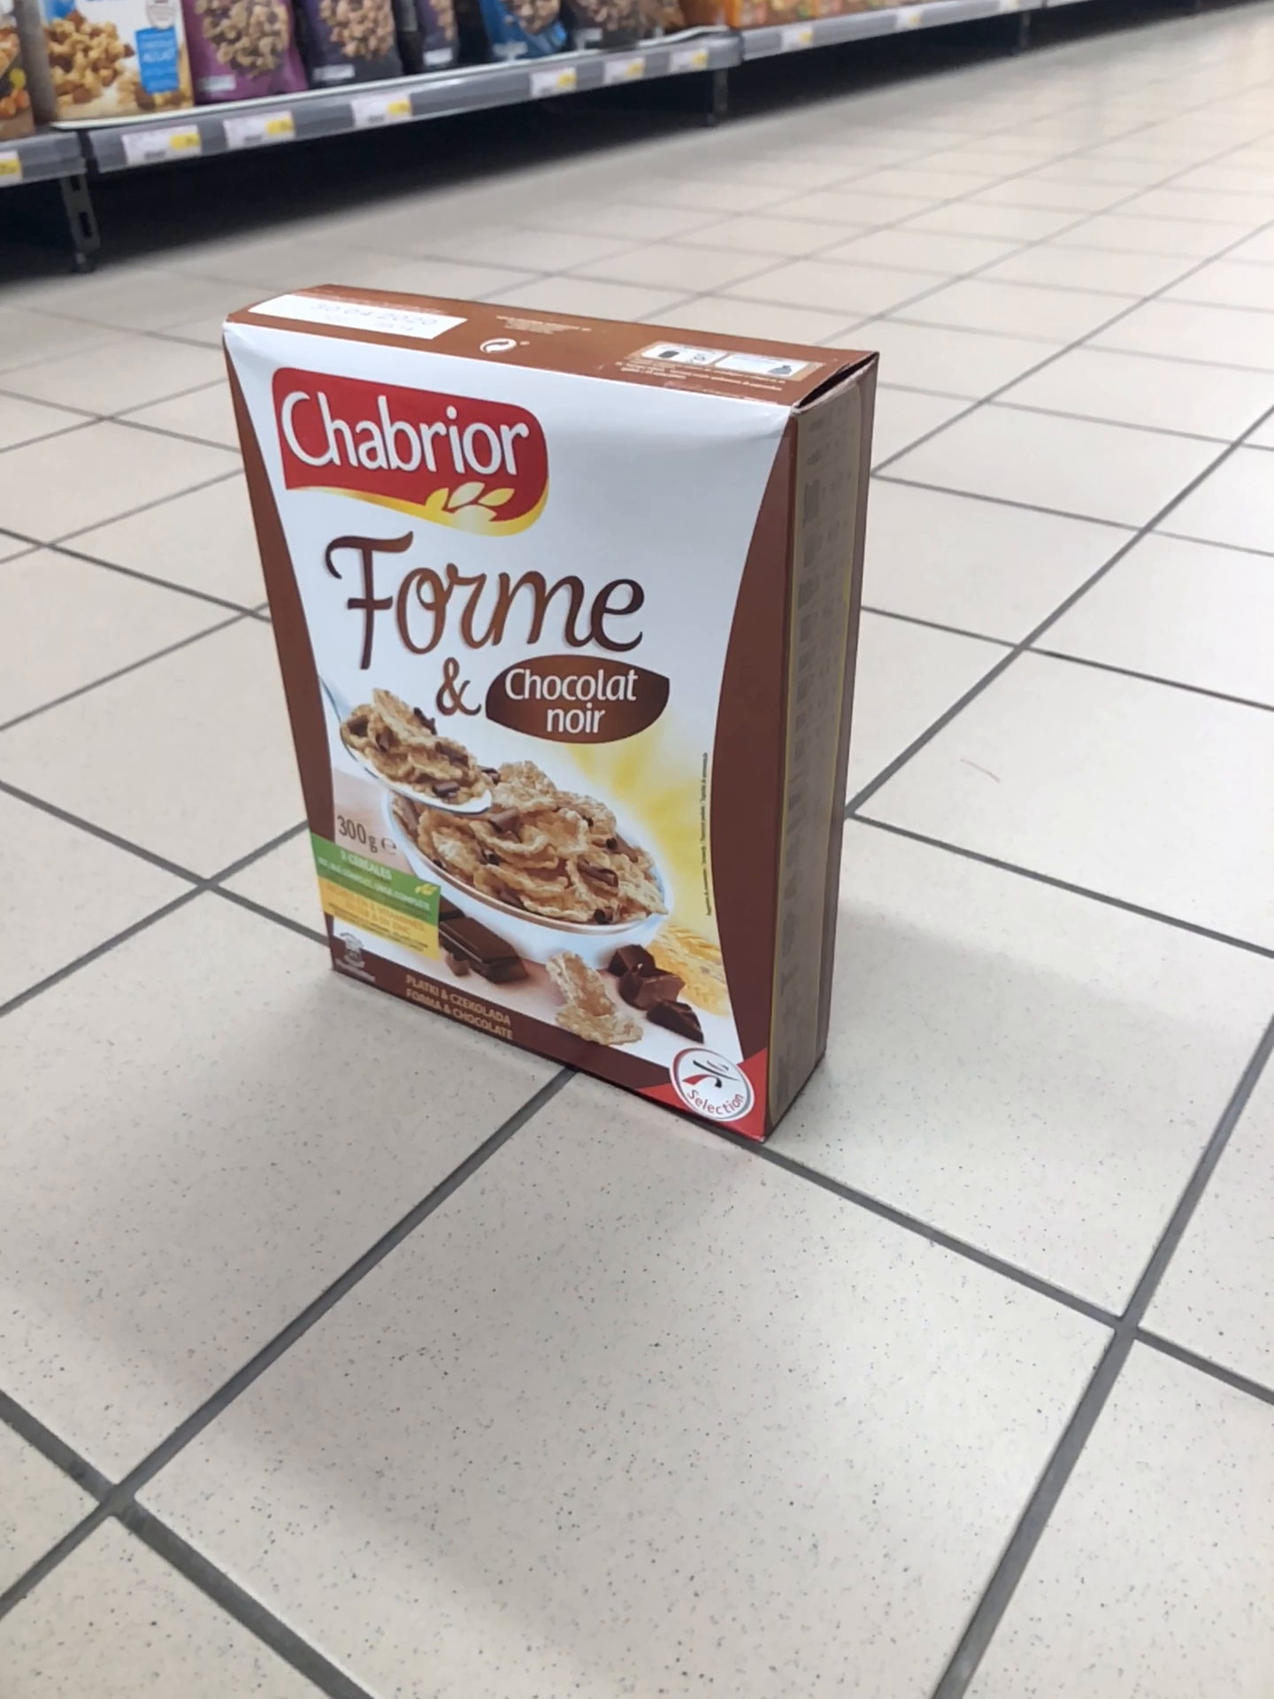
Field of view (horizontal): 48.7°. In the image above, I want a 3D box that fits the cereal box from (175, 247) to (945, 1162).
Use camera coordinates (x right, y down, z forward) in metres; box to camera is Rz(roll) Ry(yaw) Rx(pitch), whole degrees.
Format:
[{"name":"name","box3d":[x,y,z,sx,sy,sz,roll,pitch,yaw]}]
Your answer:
[{"name":"cereal box","box3d":[-0.024,-0.048,0.458,0.210,0.249,0.070,17,38,26]}]
